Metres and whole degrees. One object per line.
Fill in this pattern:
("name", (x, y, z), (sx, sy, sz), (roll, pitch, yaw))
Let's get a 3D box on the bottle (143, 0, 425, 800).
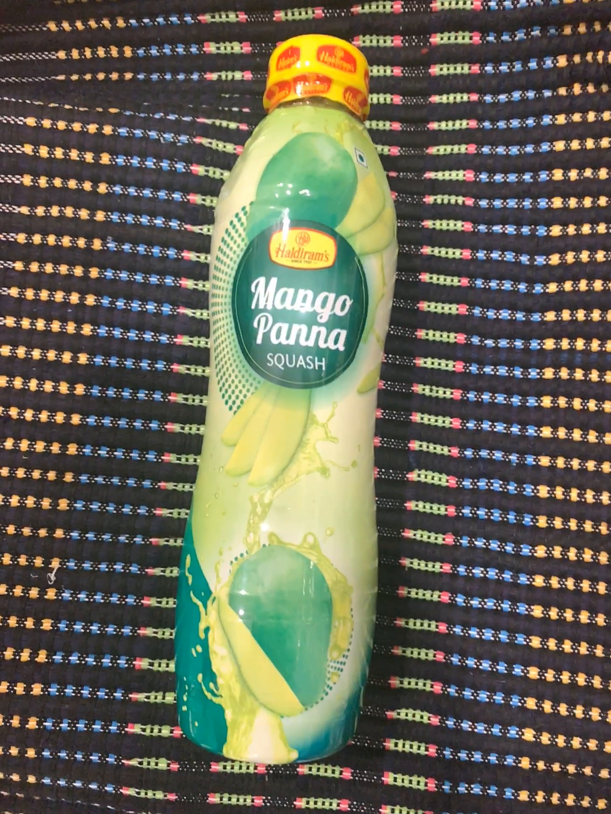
("bottle", (-0.005, -0.012, 0.234), (0.070, 0.050, 0.270), (5, 83, -4))
